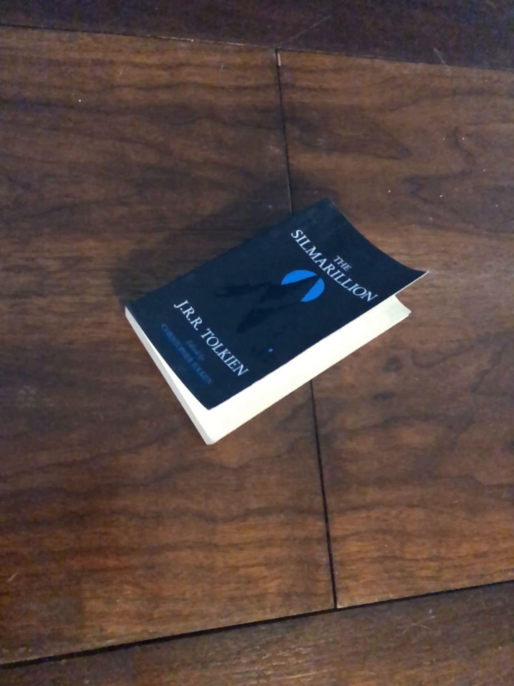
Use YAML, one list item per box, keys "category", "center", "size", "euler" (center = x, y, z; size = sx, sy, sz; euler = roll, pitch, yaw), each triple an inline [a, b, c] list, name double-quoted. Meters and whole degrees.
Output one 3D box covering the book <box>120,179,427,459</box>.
- category: "book"
  center: [0.014, -0.020, 0.405]
  size: [0.180, 0.040, 0.119]
  euler: [-33, 87, -18]
